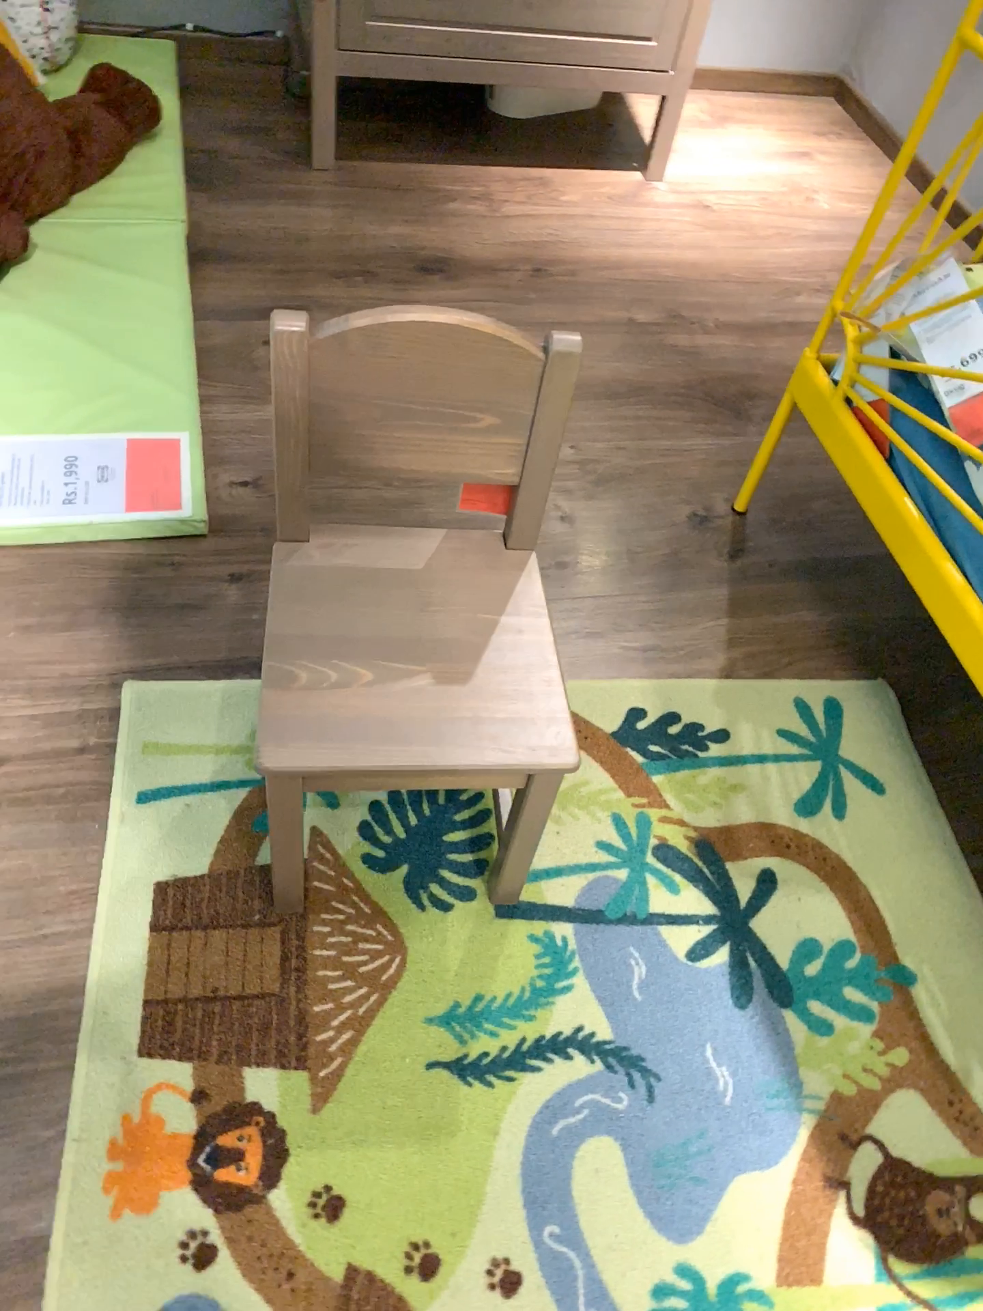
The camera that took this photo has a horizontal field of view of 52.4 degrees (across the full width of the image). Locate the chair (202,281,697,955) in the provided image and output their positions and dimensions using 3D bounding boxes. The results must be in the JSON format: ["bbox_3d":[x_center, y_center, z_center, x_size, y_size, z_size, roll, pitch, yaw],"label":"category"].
[{"bbox_3d":[-0.069,-0.001,0.869,0.290,0.489,0.331,1,51,-10],"label":"chair"}]
